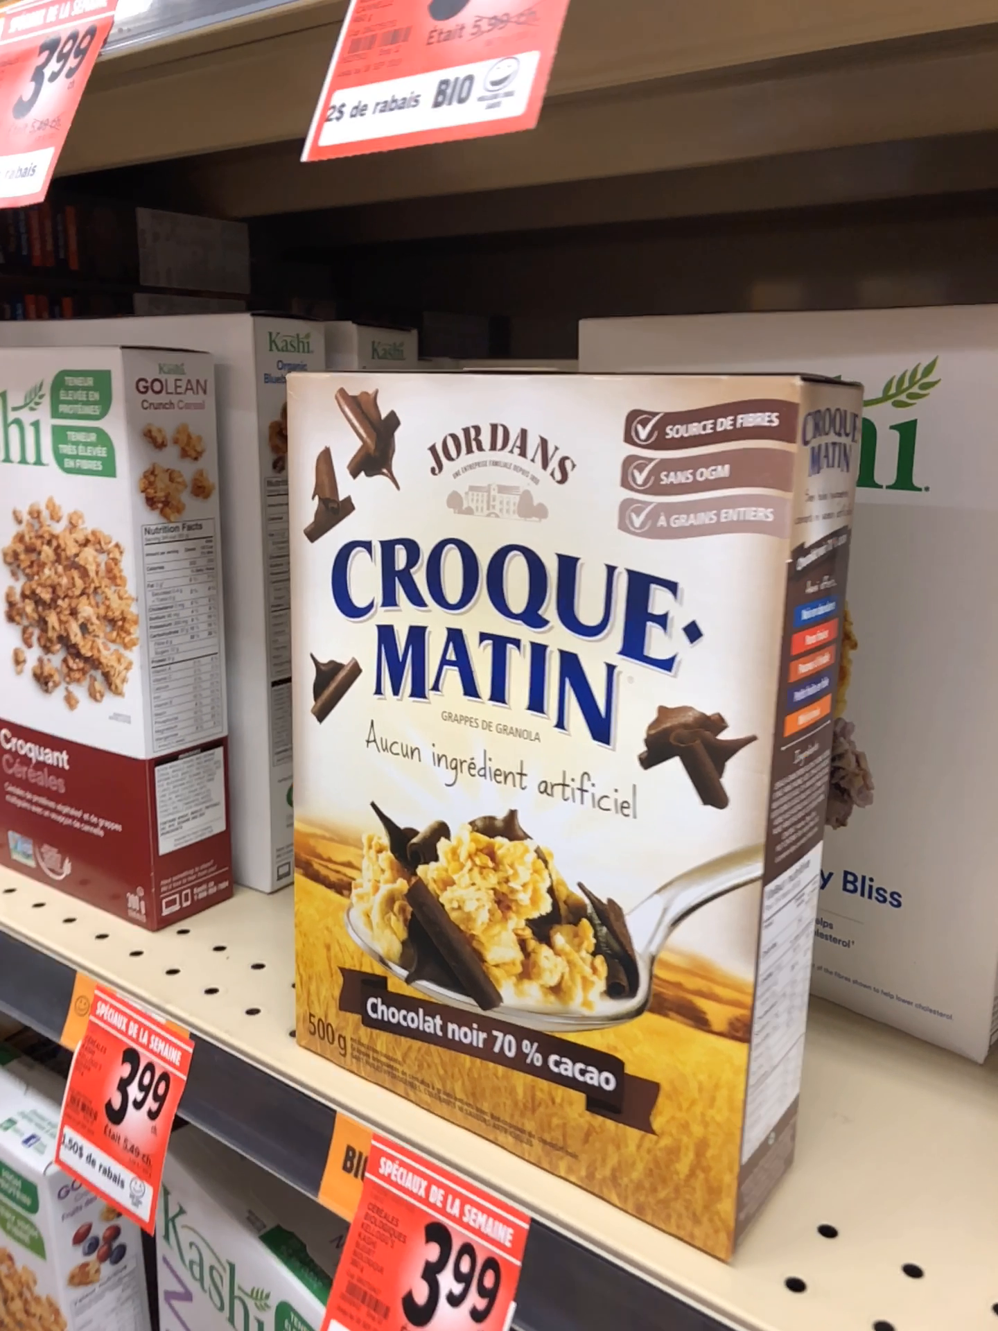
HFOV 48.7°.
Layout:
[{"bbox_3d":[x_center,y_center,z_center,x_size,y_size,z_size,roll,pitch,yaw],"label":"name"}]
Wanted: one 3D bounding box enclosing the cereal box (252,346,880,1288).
[{"bbox_3d":[0.006,0.030,0.352,0.190,0.249,0.050,11,14,35],"label":"cereal box"}]
